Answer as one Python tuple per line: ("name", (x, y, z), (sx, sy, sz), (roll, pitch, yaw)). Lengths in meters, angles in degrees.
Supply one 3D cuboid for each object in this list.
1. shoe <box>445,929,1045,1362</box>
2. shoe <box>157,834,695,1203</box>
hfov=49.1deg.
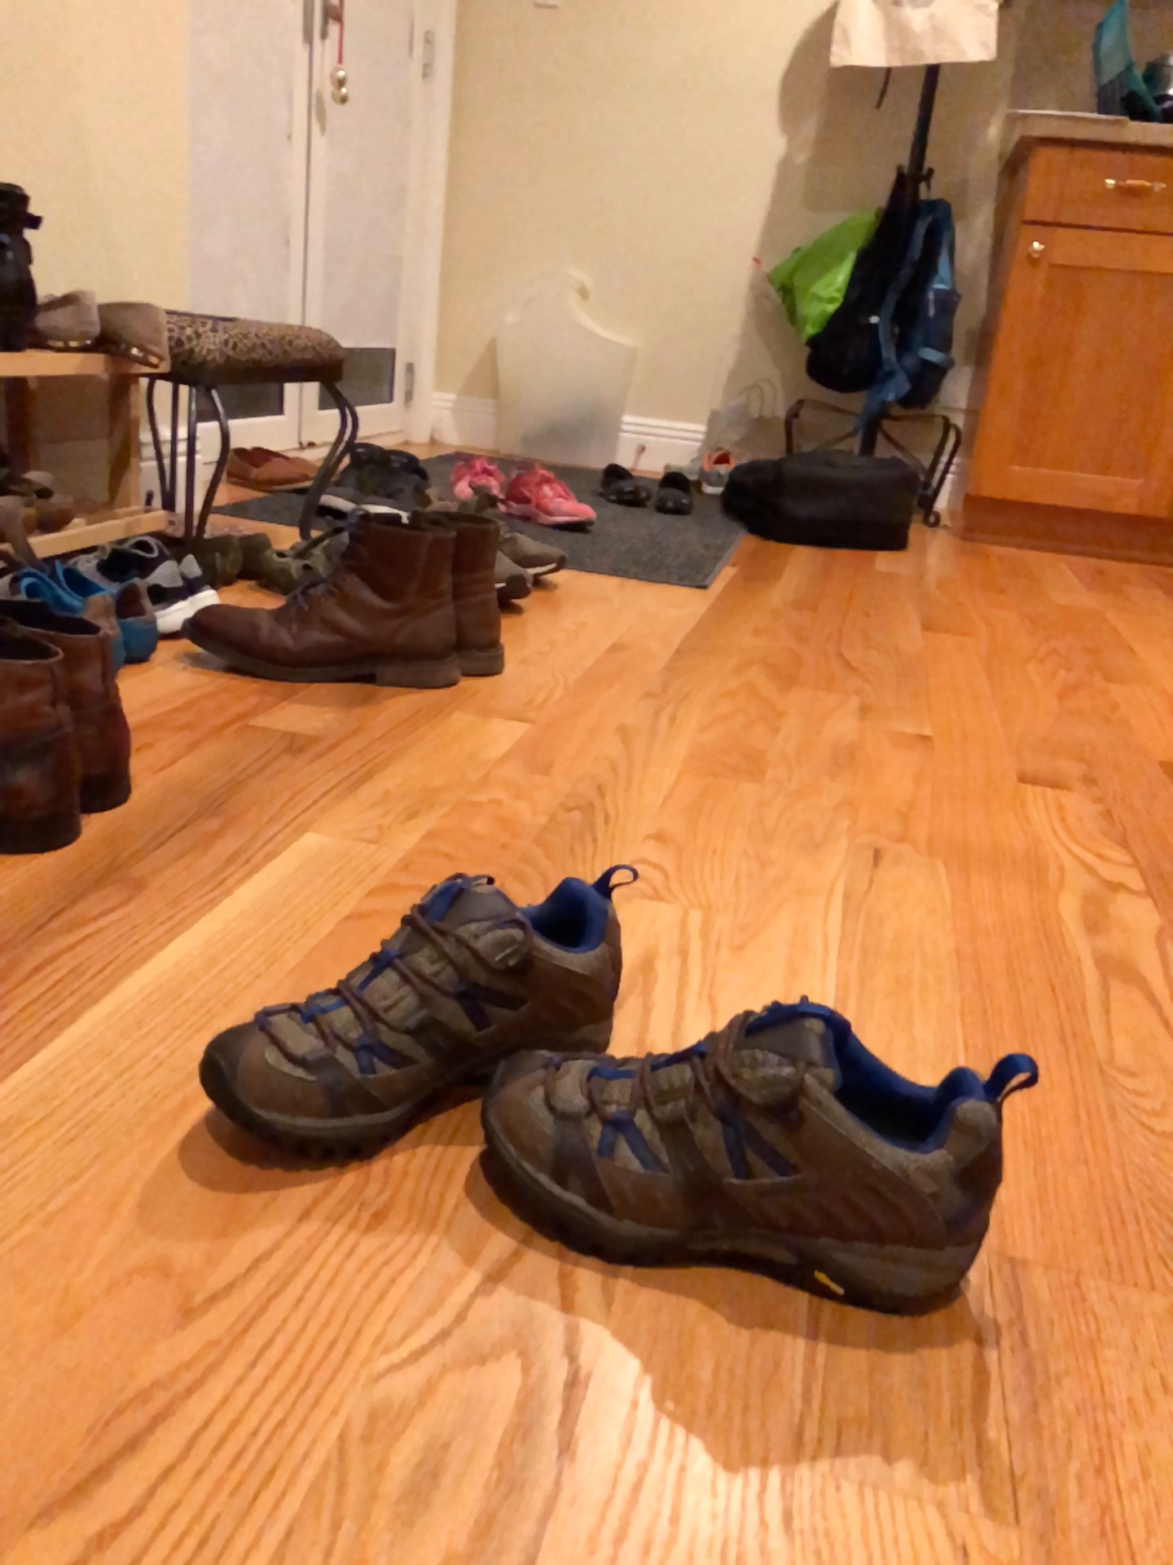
("shoe", (0.068, 0.157, 0.584), (0.240, 0.106, 0.095), (10, 19, 11))
("shoe", (-0.076, 0.106, 0.653), (0.252, 0.094, 0.097), (-9, 24, -37))
